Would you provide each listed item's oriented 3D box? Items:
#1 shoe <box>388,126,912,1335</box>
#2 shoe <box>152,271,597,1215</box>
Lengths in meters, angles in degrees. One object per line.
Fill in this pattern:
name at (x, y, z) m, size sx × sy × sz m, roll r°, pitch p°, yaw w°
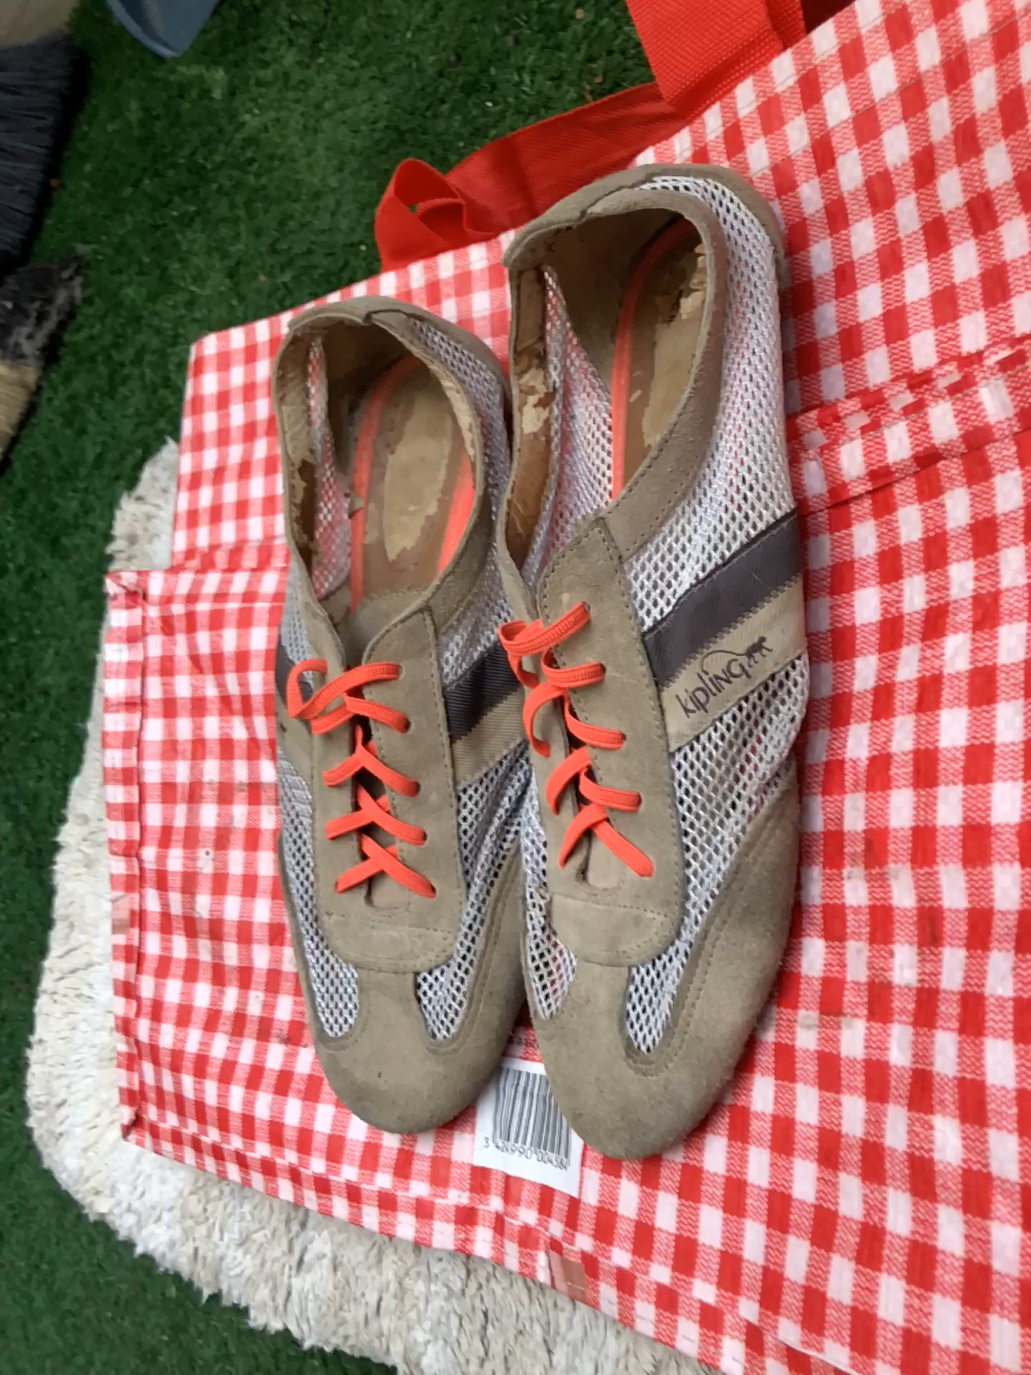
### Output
shoe at (0.024, 0.008, 0.272) m, size 0.100 × 0.050 × 0.230 m, roll -8°, pitch 87°, yaw 58°
shoe at (-0.042, 0.017, 0.334) m, size 0.100 × 0.050 × 0.240 m, roll -6°, pitch 87°, yaw 25°
